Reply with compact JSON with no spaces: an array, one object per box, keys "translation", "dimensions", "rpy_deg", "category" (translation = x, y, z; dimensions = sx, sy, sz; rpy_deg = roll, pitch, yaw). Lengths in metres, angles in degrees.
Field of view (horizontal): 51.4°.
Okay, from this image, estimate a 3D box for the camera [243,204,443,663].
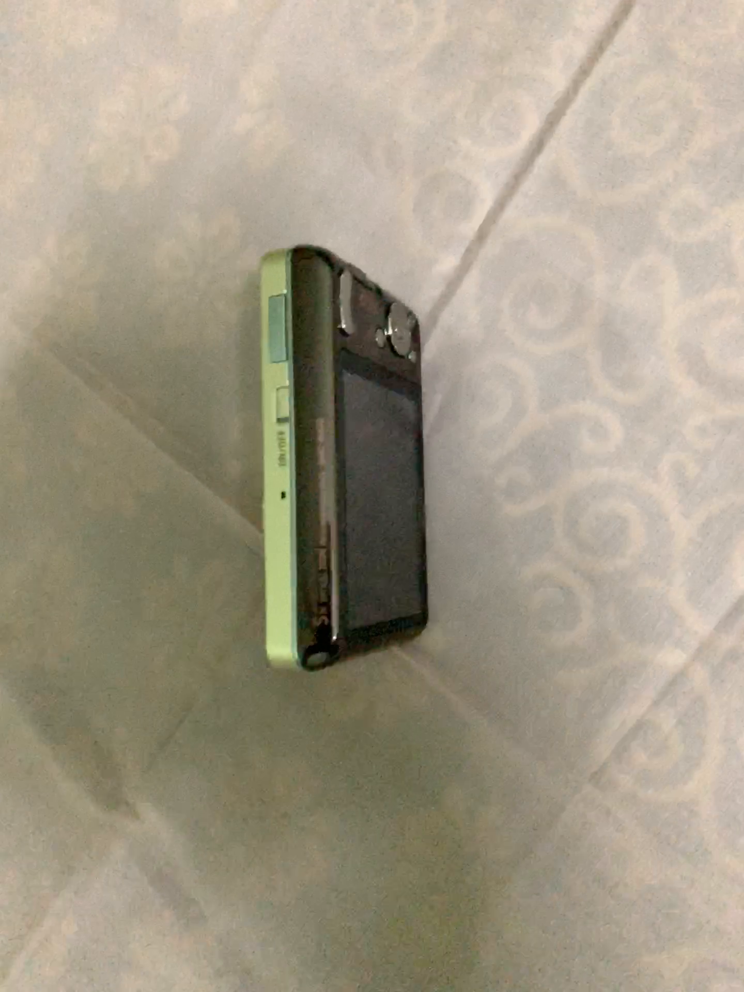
[{"translation":[-0.004,-0.010,0.179],"dimensions":[0.021,0.060,0.088],"rpy_deg":[-3,85,24],"category":"camera"}]
